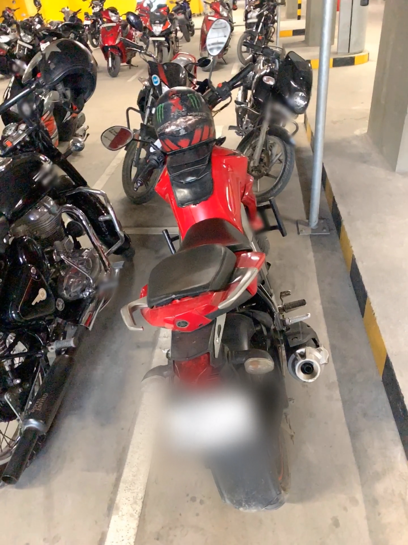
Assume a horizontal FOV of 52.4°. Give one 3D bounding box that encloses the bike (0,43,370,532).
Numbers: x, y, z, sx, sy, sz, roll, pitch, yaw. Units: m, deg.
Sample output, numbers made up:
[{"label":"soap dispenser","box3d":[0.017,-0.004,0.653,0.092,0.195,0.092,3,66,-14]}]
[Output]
[{"label":"bike","box3d":[-0.146,-0.141,1.684,0.676,1.121,1.692,-8,36,-3]}]
